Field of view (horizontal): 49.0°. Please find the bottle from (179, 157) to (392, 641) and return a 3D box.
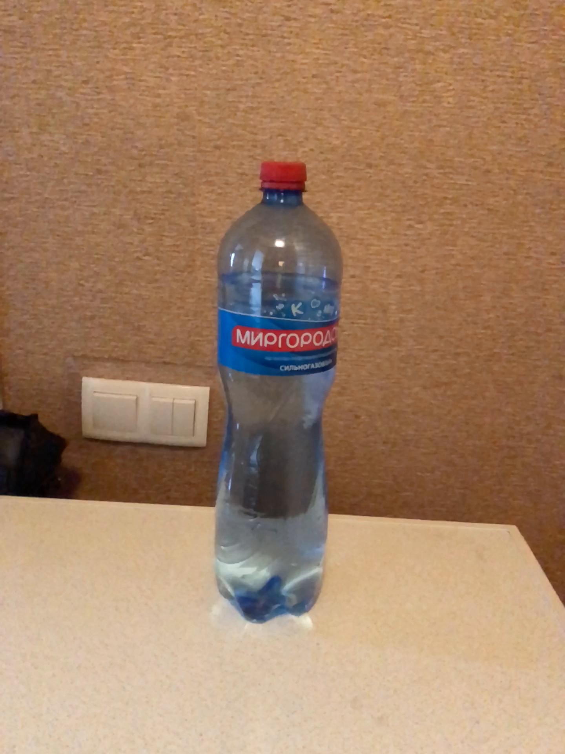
[{"bbox_3d":[-0.009,0.012,0.451,0.100,0.318,0.100,3,17,-1],"label":"bottle"}]
